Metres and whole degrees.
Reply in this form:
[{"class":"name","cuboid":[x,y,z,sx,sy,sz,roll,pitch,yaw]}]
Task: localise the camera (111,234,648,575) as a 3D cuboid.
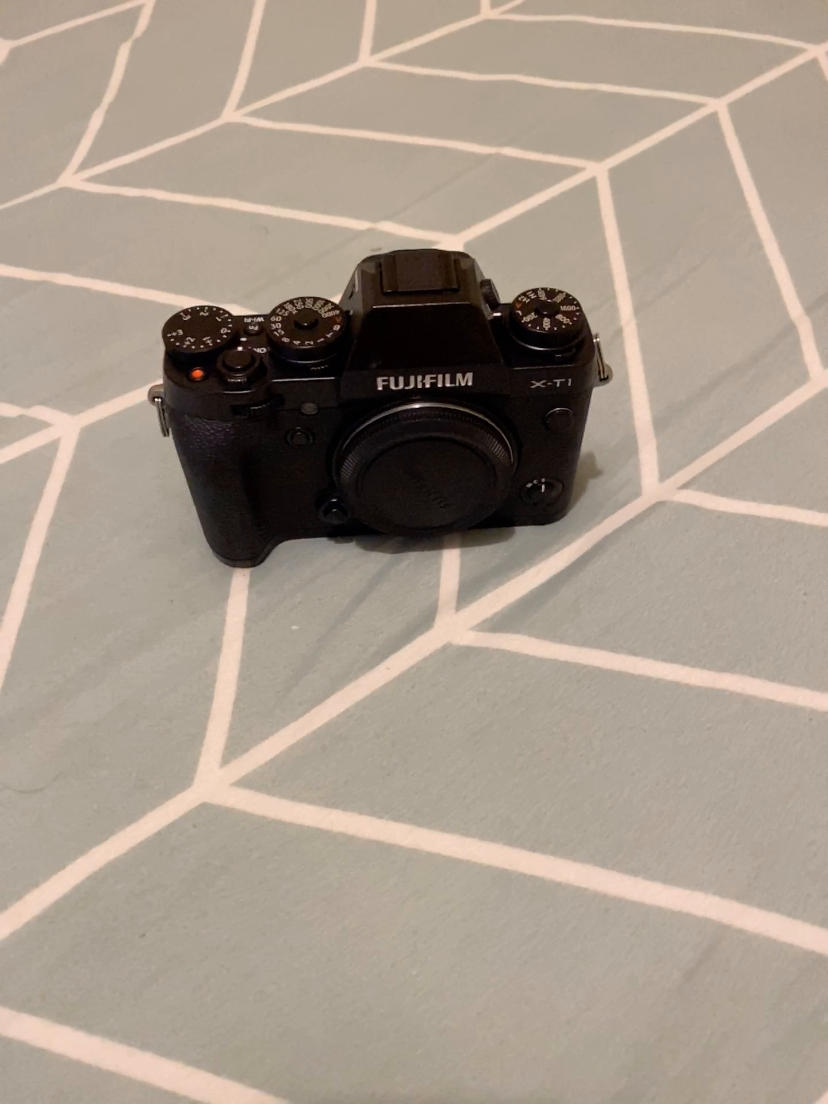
[{"class":"camera","cuboid":[-0.009,-0.044,0.274,0.142,0.082,0.054,-5,52,-1]}]
